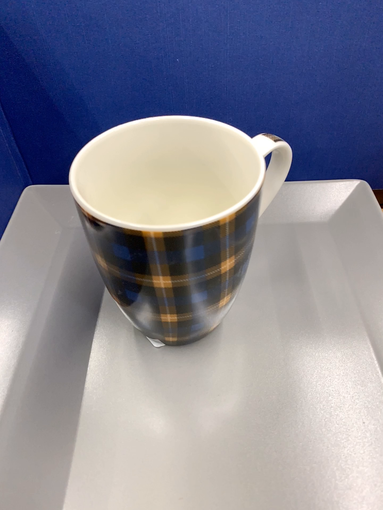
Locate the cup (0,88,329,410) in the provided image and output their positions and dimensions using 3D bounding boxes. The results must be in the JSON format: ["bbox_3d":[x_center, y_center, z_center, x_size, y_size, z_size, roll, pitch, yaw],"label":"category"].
[{"bbox_3d":[-0.007,-0.013,0.210,0.095,0.089,0.122,27,52,28],"label":"cup"}]
